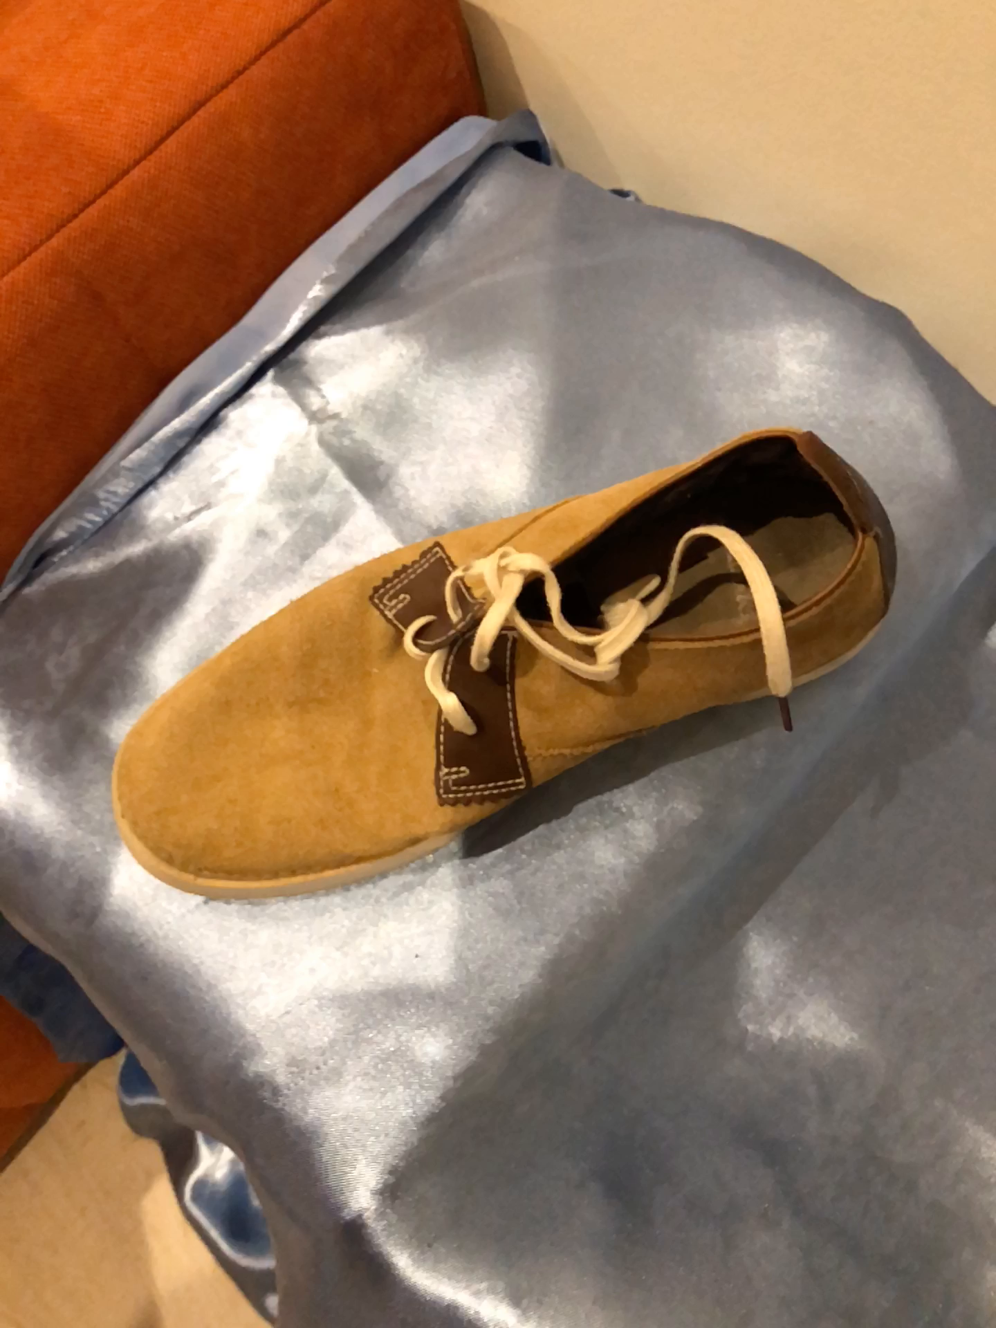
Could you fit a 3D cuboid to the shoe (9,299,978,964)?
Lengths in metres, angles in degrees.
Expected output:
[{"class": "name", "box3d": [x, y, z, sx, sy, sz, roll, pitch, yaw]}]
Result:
[{"class": "shoe", "box3d": [-0.005, -0.001, 0.415, 0.300, 0.120, 0.120, -20, 66, 2]}]
